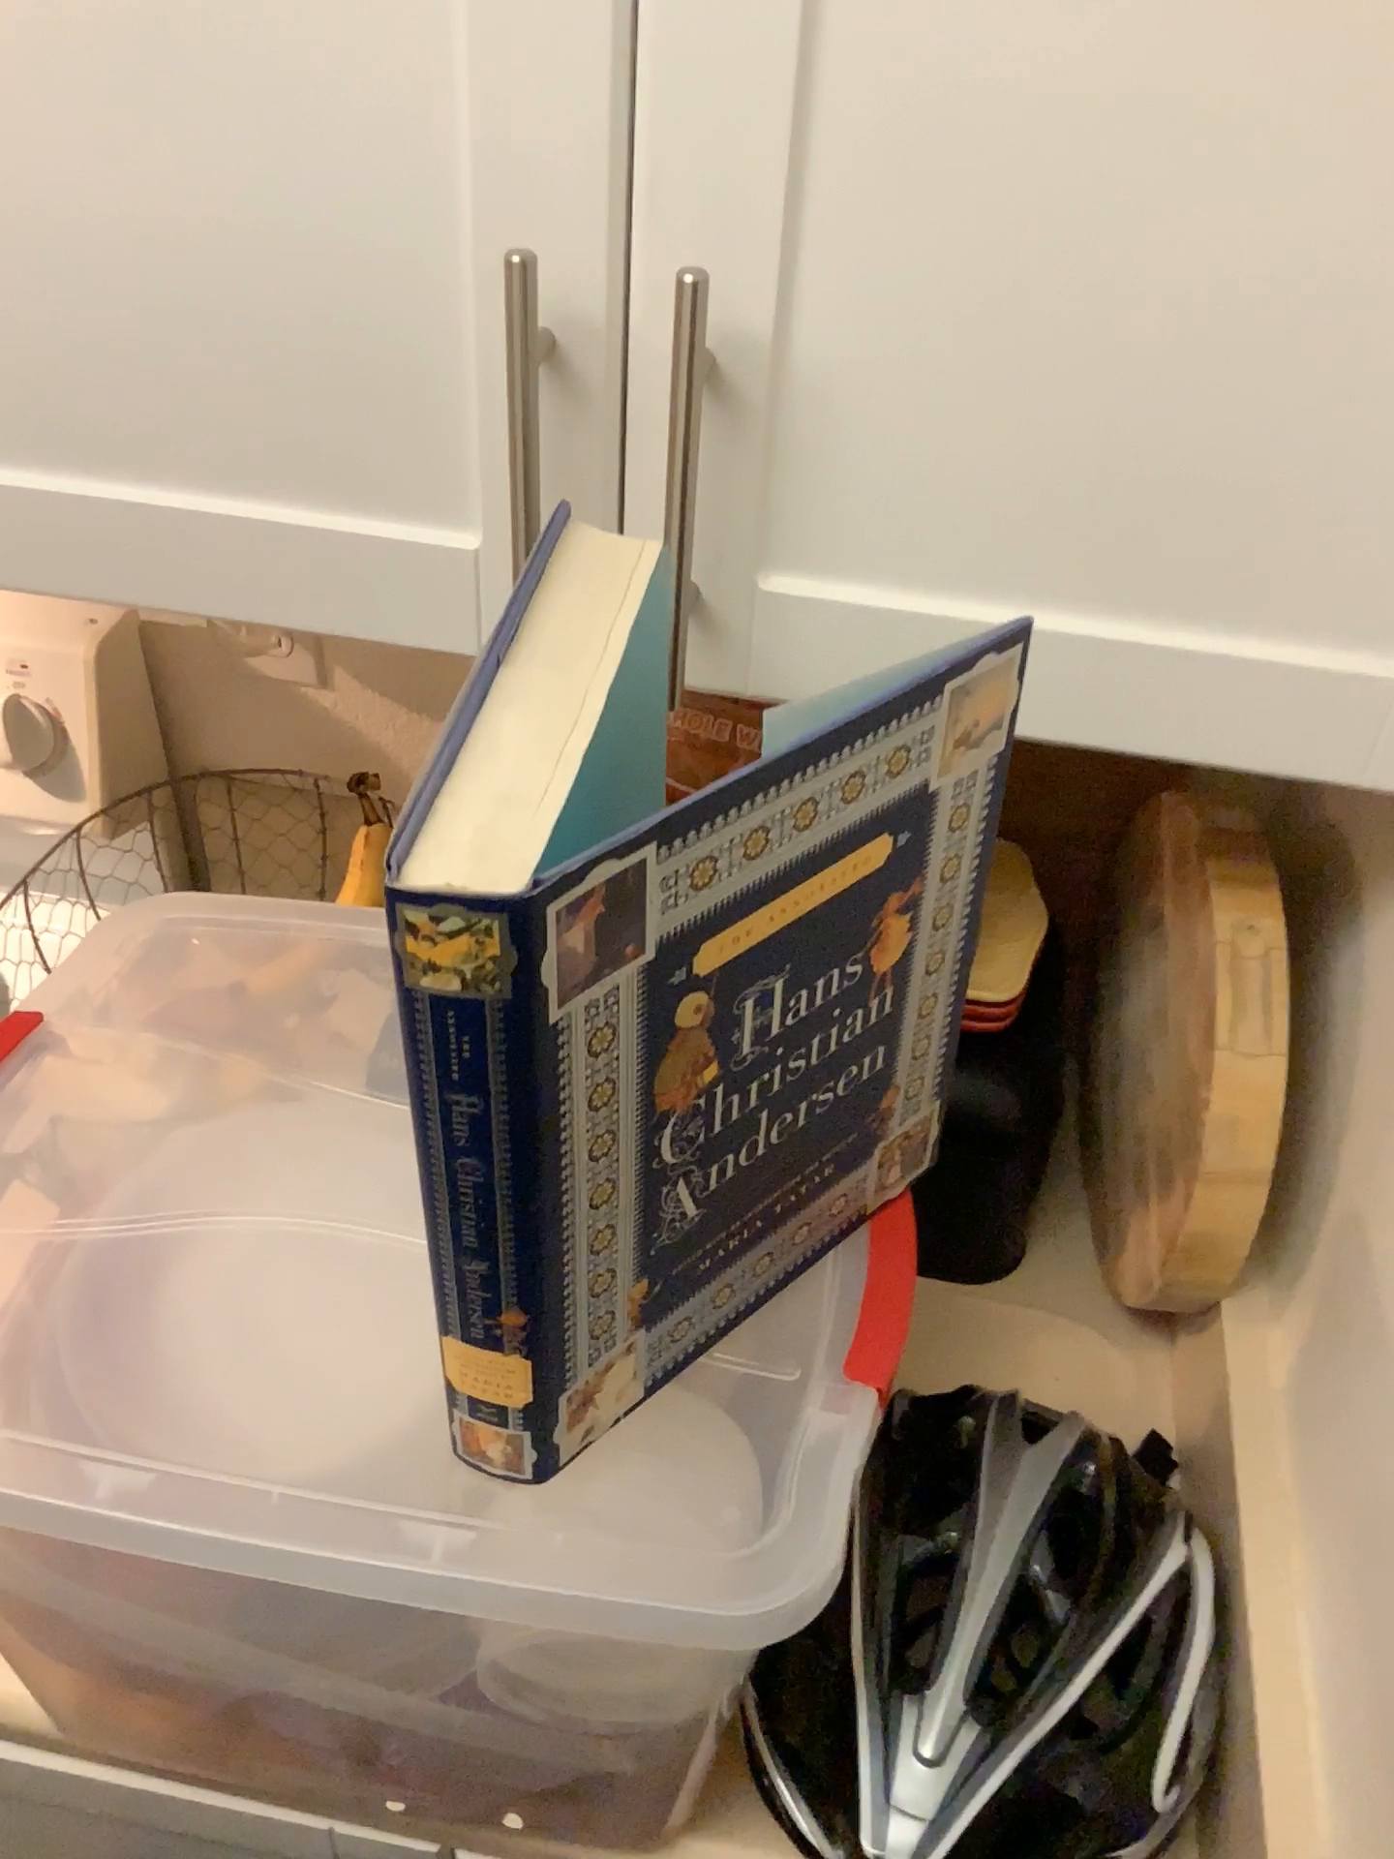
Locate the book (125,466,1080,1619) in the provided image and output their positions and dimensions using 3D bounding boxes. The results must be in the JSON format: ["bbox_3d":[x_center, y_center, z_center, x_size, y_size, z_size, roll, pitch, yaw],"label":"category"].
[{"bbox_3d":[-0.018,0.028,0.546,0.200,0.260,0.250,17,41,13],"label":"book"}]
